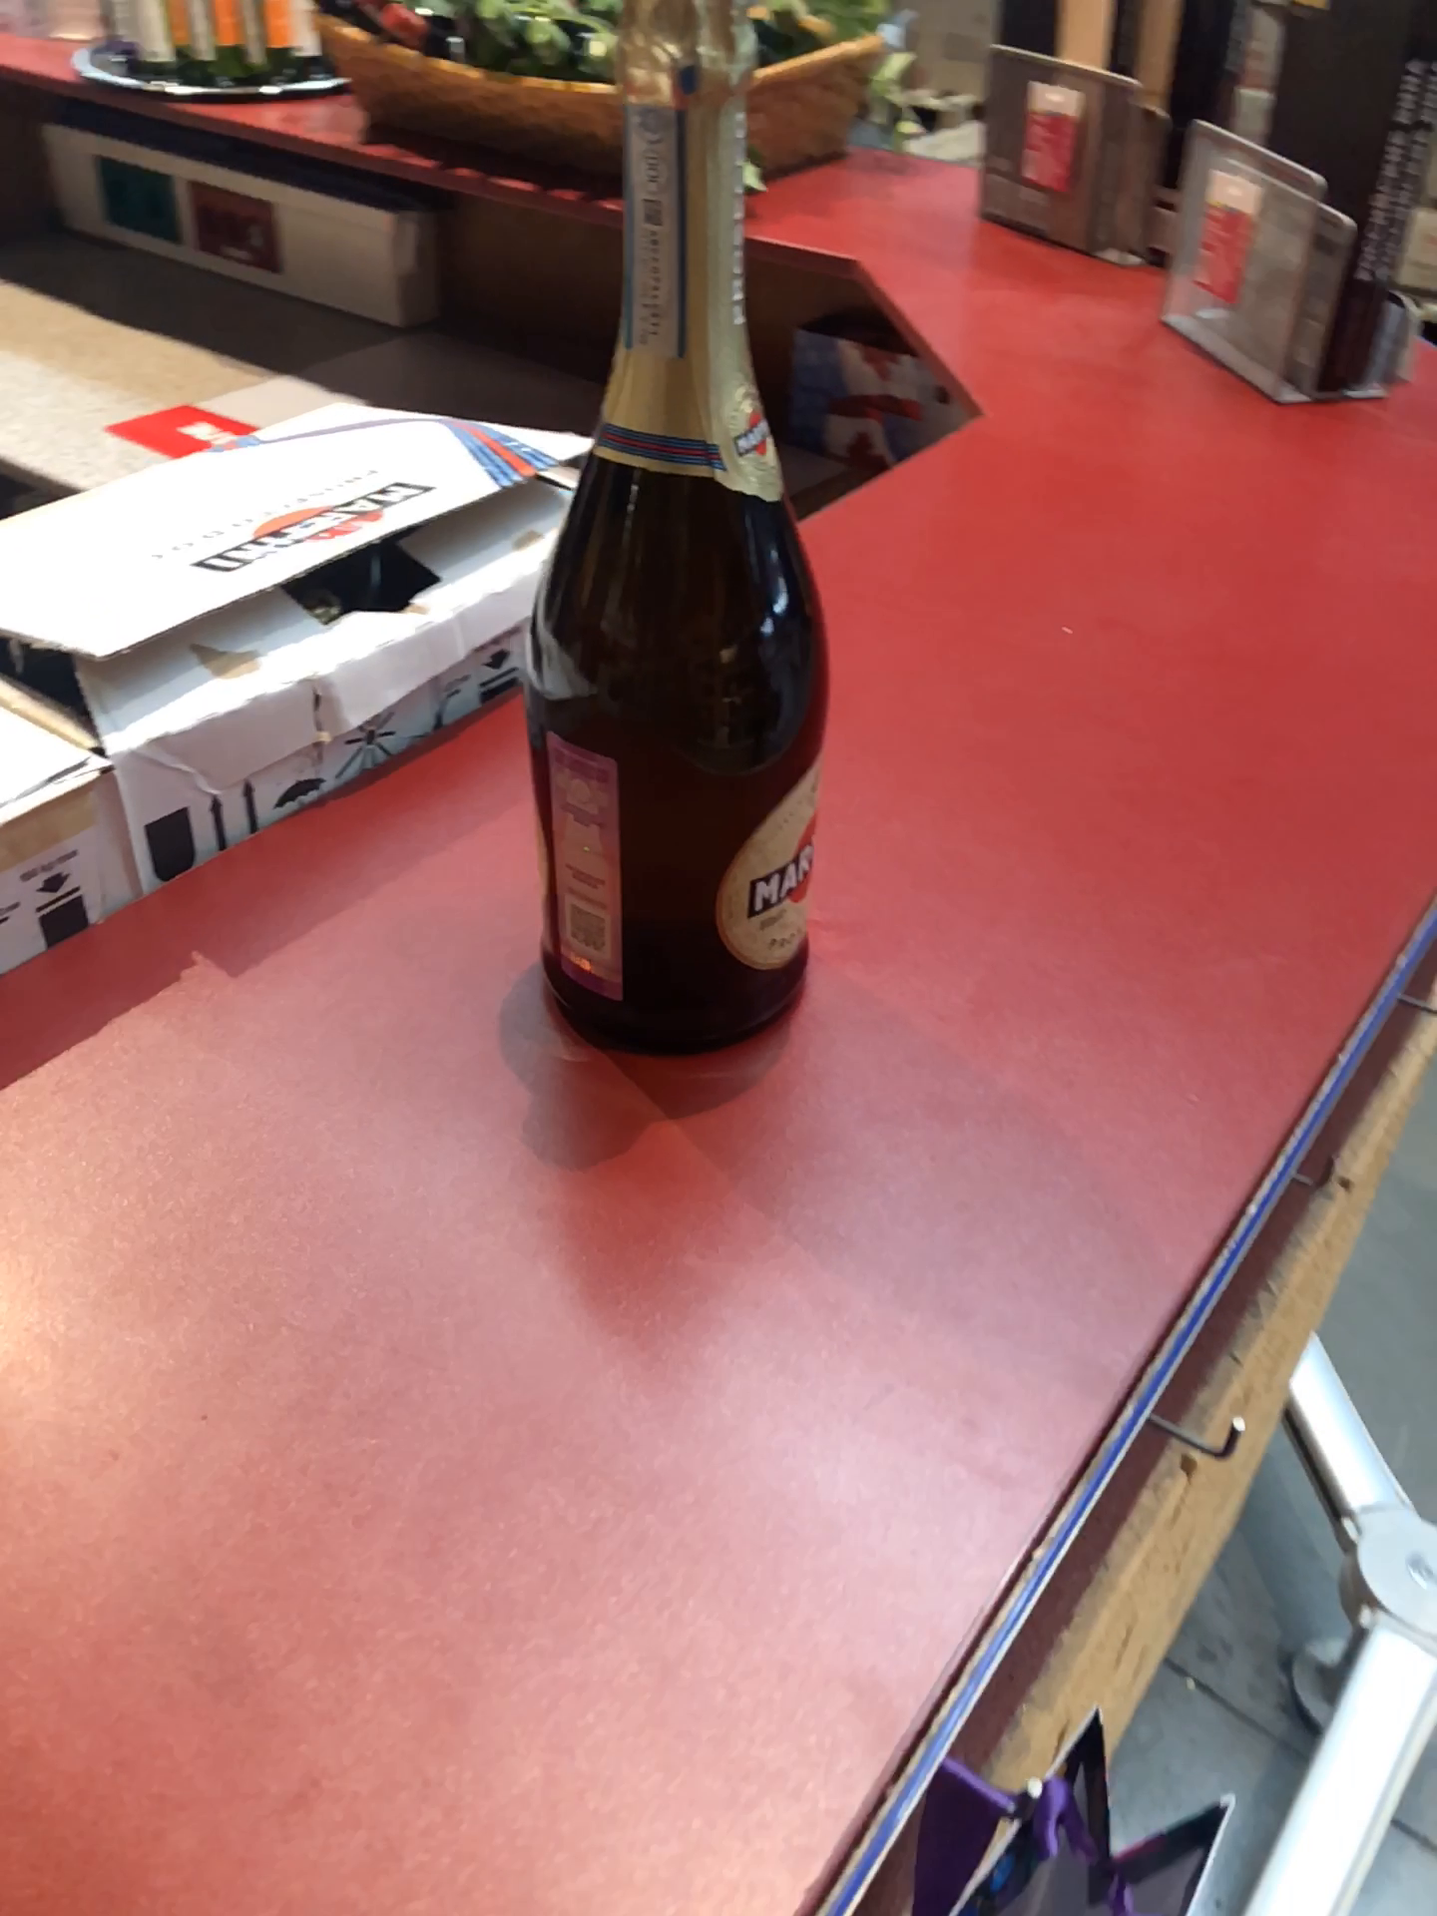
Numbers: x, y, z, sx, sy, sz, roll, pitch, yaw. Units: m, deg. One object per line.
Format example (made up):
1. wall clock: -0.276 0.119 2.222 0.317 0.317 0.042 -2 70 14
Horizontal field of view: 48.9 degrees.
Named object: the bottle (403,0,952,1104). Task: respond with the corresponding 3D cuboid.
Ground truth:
1. bottle: -0.011 -0.114 0.440 0.089 0.302 0.100 15 40 15
